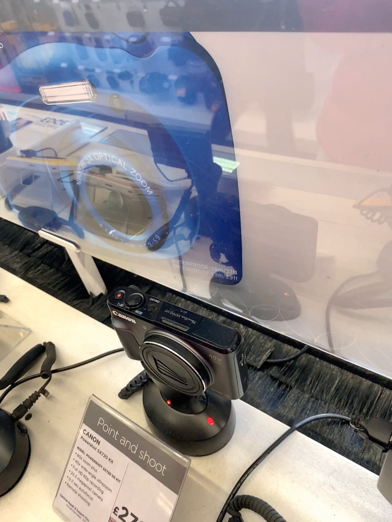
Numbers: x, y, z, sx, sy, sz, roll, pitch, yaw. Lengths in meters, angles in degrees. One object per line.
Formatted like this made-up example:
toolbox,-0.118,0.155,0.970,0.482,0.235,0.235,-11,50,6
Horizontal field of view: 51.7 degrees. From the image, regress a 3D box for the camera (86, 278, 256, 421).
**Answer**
camera,-0.018,0.060,0.286,0.113,0.061,0.031,18,50,29
